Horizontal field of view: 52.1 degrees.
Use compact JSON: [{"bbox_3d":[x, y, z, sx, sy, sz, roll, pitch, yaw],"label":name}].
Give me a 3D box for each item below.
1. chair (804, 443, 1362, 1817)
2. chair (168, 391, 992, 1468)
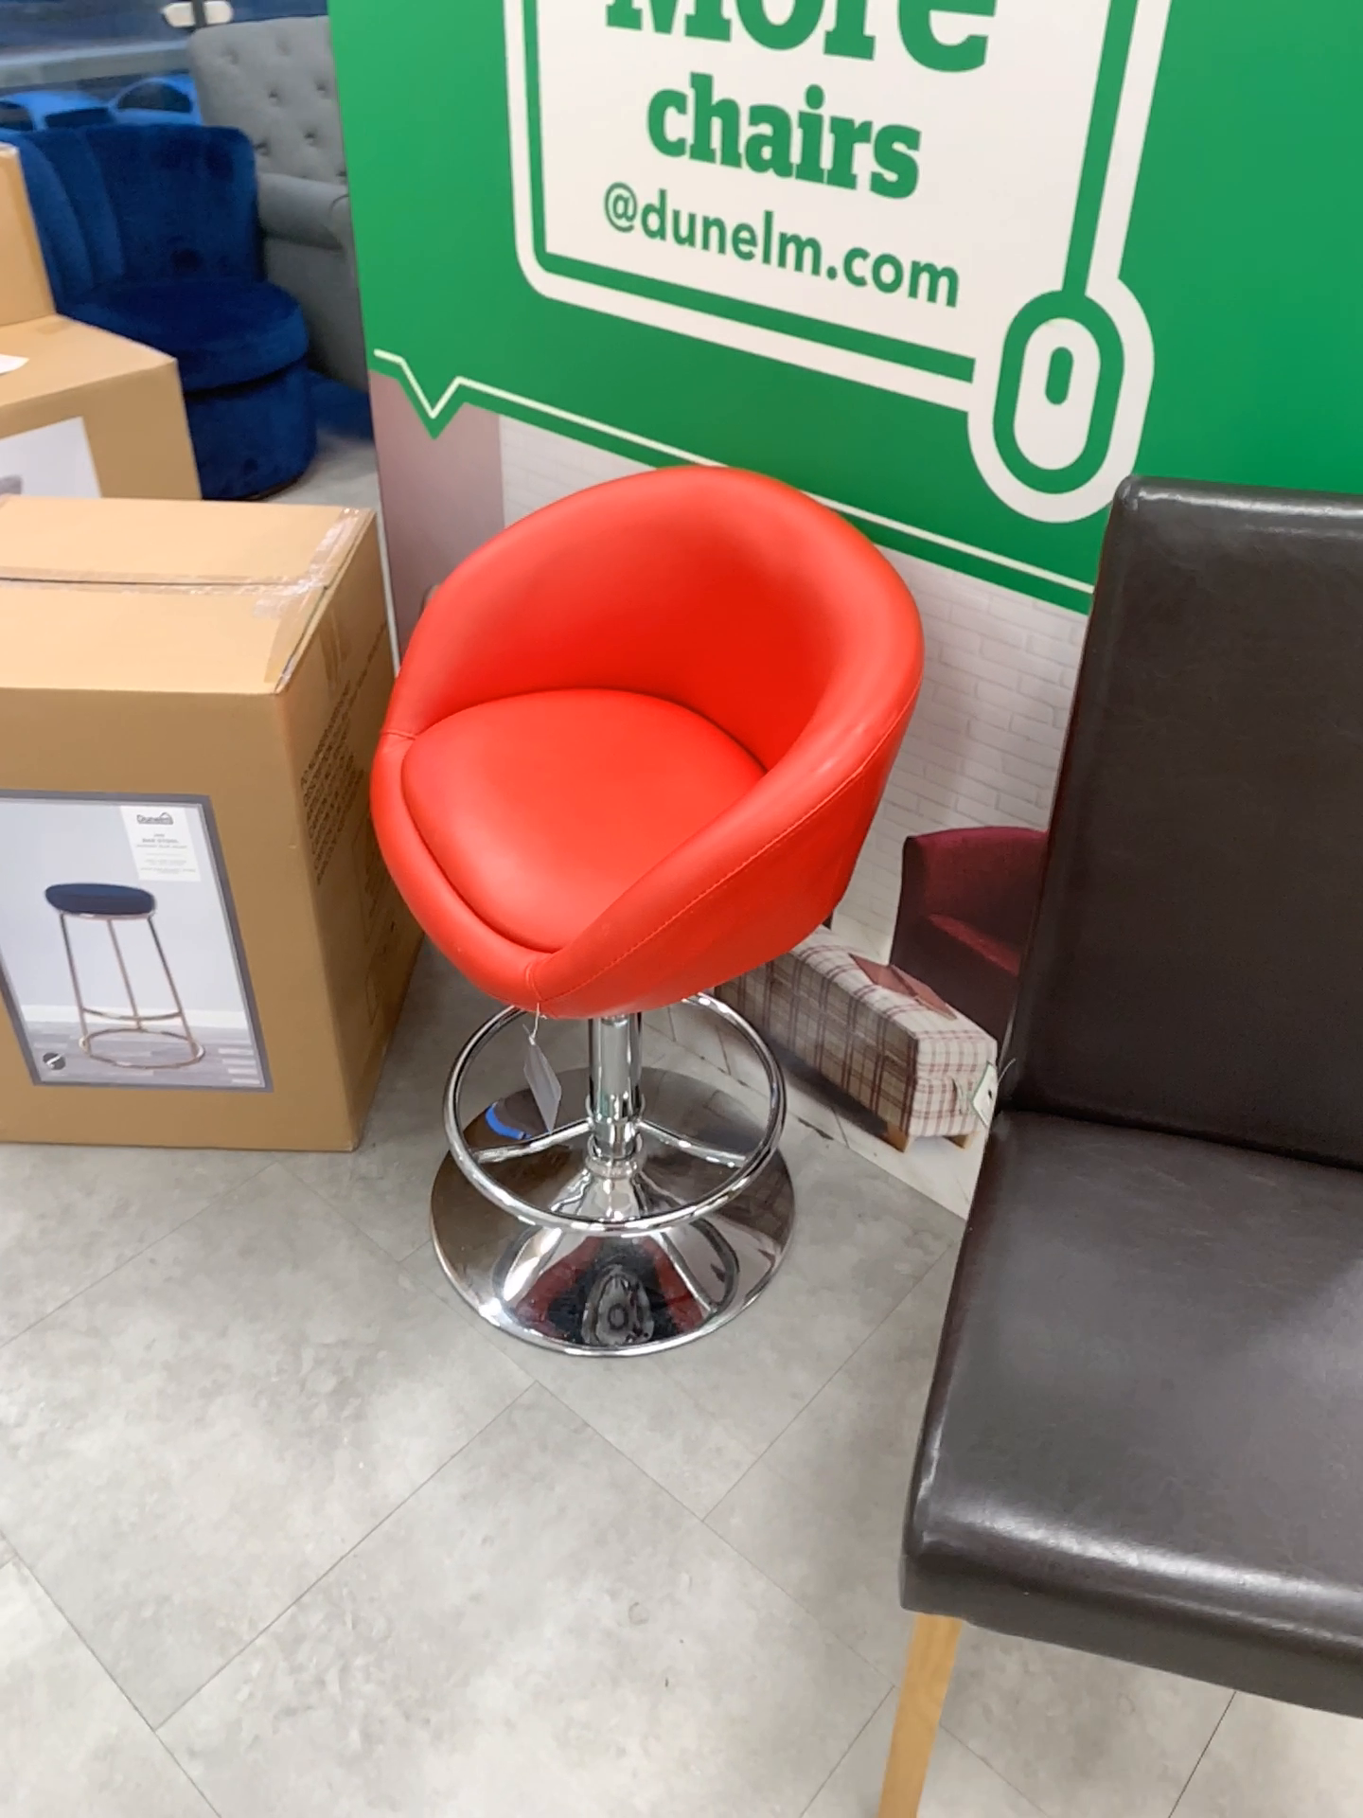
[{"bbox_3d":[0.380,0.250,0.948,0.445,0.919,0.522,9,38,11],"label":"chair"},{"bbox_3d":[-0.110,0.005,1.307,0.478,0.761,0.498,-16,40,-22],"label":"chair"}]
